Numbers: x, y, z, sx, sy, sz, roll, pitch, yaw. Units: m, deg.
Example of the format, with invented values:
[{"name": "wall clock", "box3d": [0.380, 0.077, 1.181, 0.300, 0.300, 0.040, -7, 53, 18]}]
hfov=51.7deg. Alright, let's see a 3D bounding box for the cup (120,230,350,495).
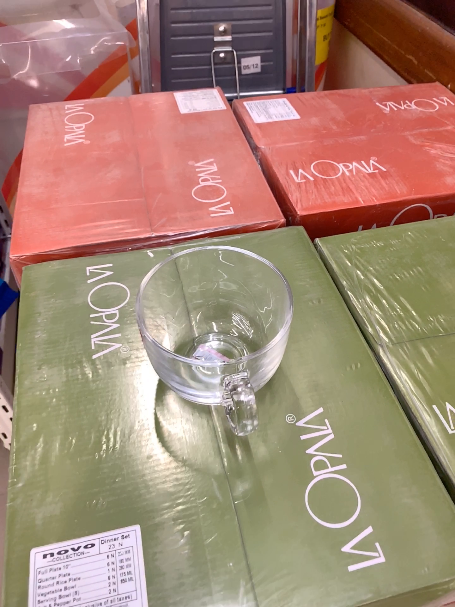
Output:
[{"name": "cup", "box3d": [-0.004, 0.035, 0.335, 0.110, 0.090, 0.140, -13, 49, -13]}]
